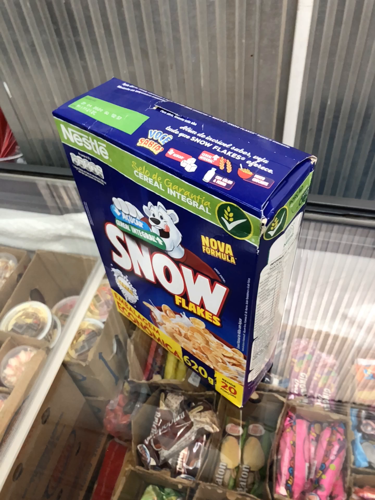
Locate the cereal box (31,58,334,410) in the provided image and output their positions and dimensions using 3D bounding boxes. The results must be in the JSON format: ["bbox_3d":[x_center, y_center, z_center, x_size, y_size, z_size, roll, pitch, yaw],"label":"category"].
[{"bbox_3d":[-0.006,0.003,0.416,0.231,0.308,0.070,32,59,28],"label":"cereal box"}]
